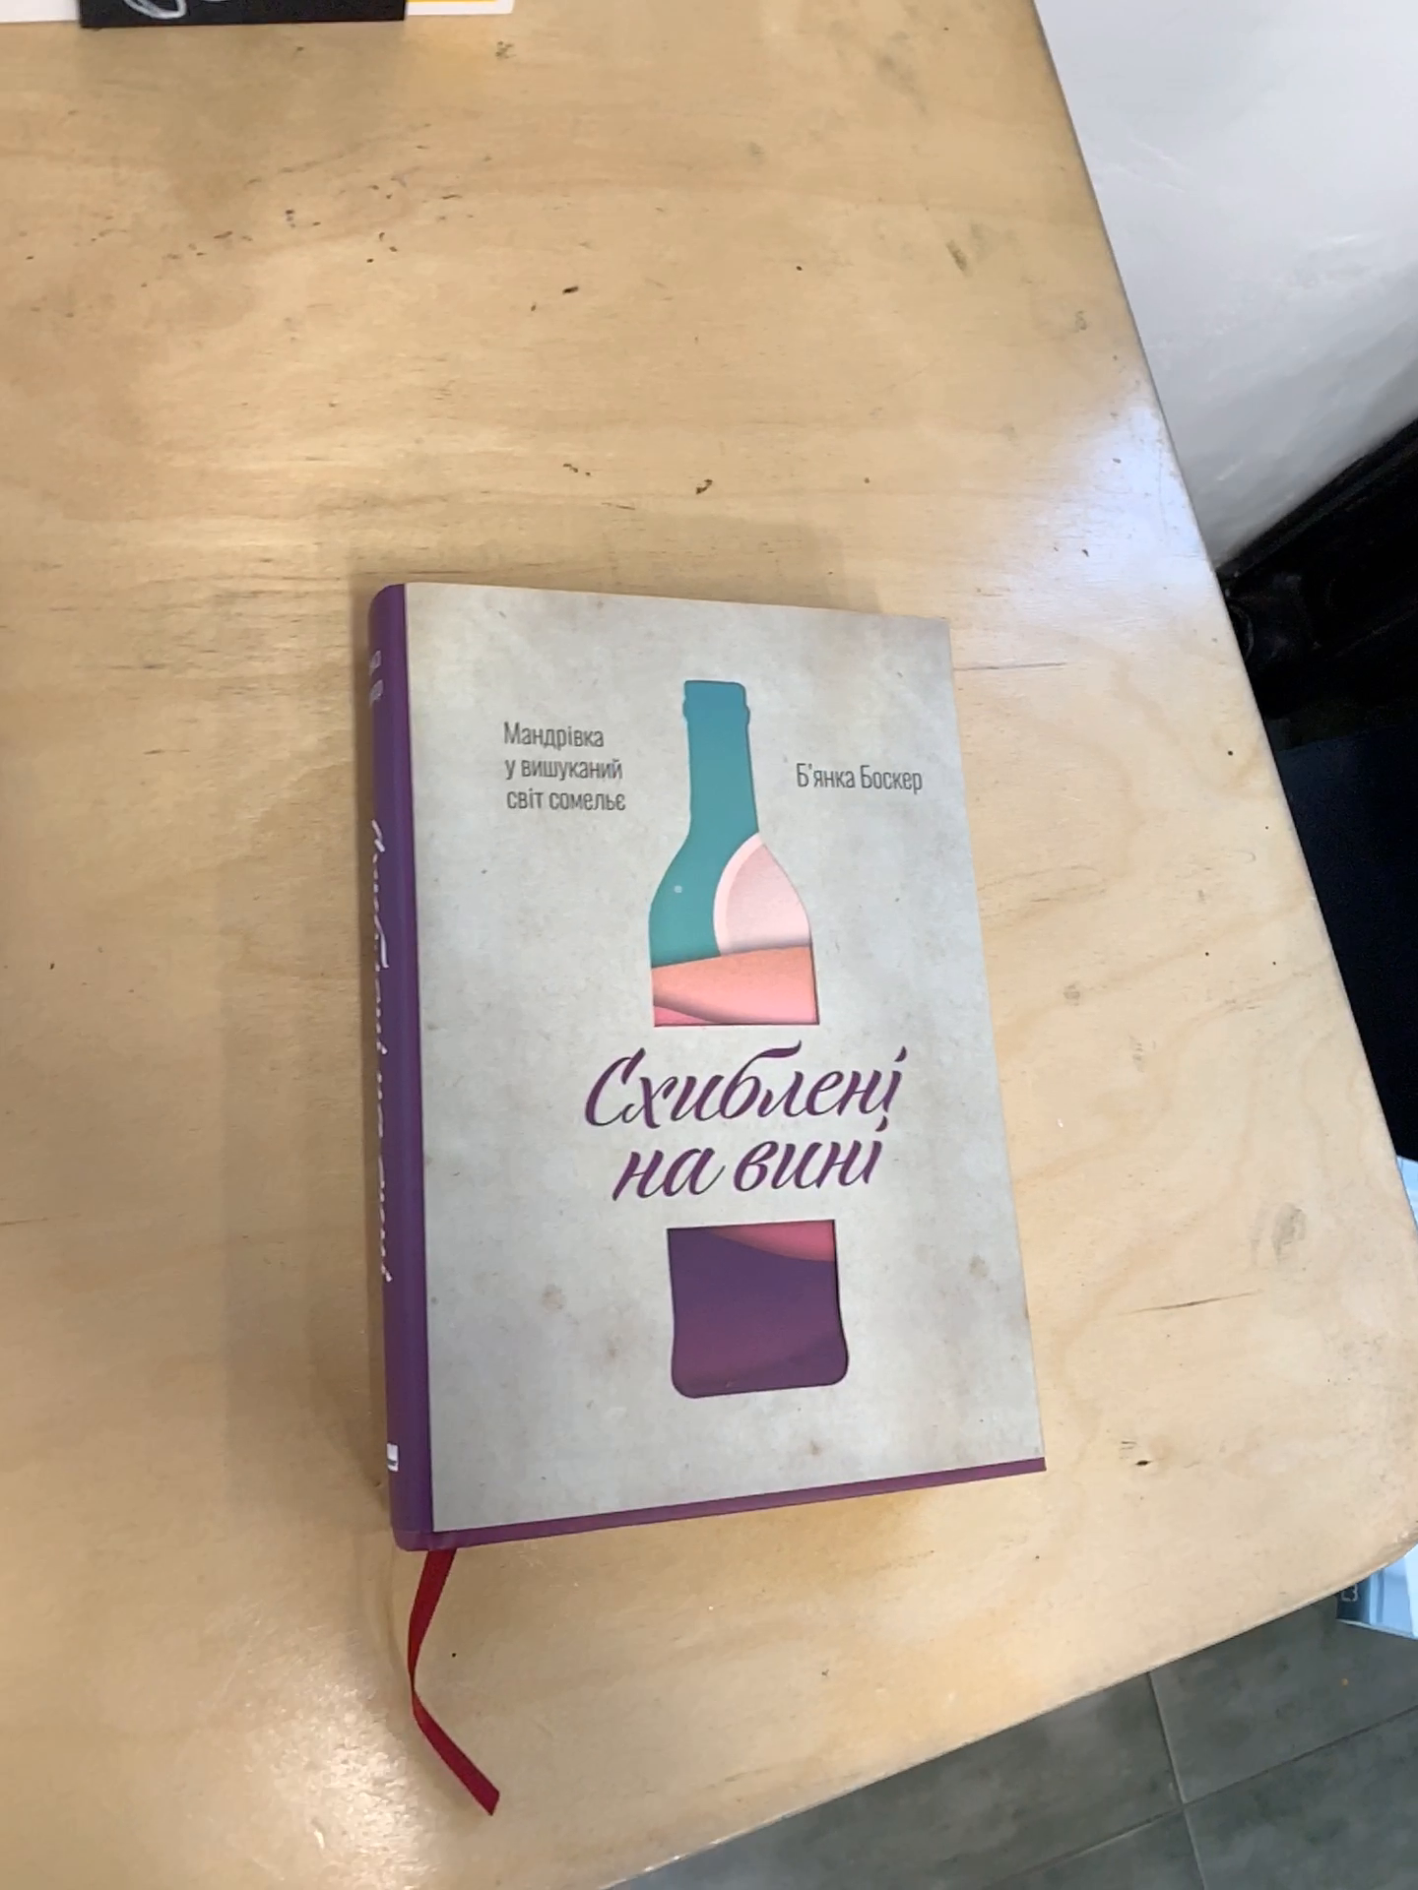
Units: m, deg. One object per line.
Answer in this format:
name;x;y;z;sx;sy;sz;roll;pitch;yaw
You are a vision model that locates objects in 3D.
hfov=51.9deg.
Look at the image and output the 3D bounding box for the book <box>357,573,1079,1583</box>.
book;-0.003;0.025;0.353;0.150;0.050;0.214;0;76;-19
